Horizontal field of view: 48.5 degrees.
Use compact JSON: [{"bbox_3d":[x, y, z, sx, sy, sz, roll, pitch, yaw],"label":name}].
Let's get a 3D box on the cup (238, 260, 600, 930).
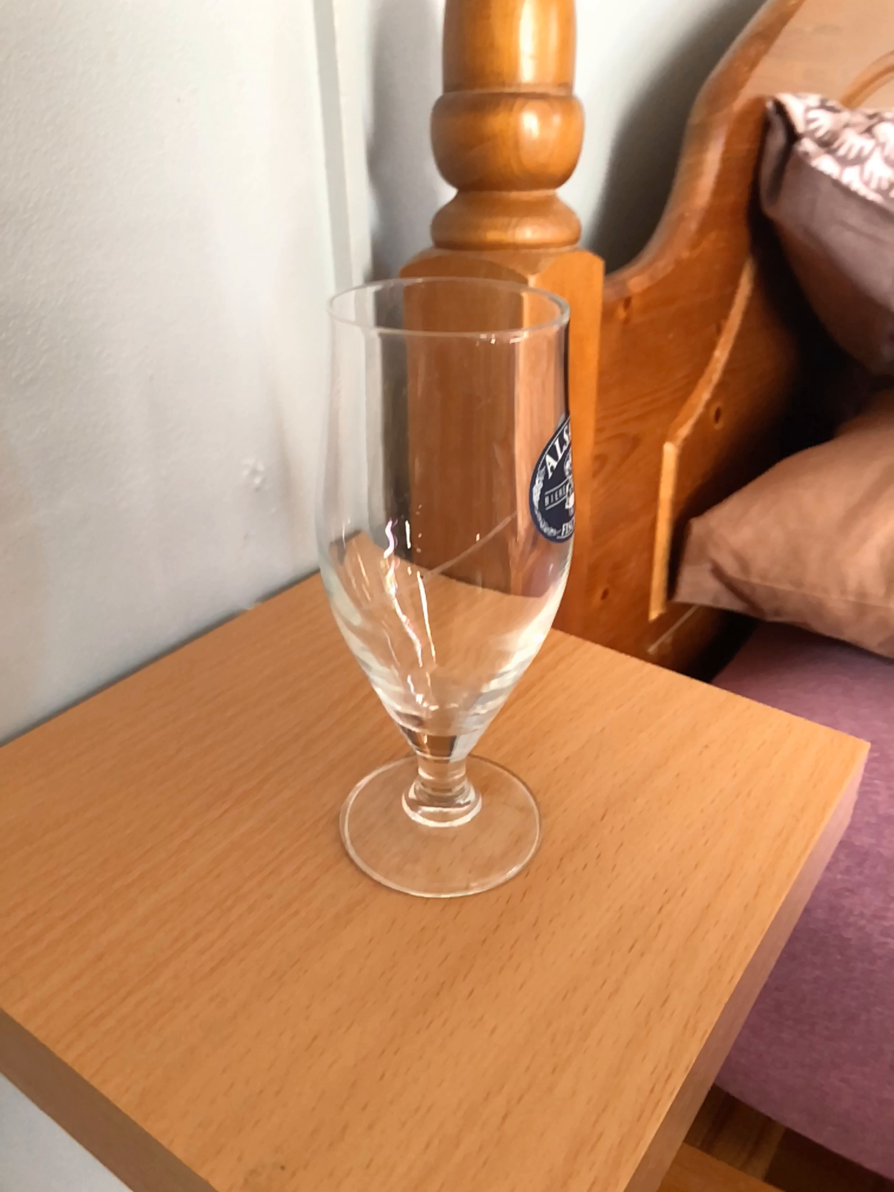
[{"bbox_3d":[-0.004,0.000,0.278,0.068,0.166,0.068,0,28,0],"label":"cup"}]
